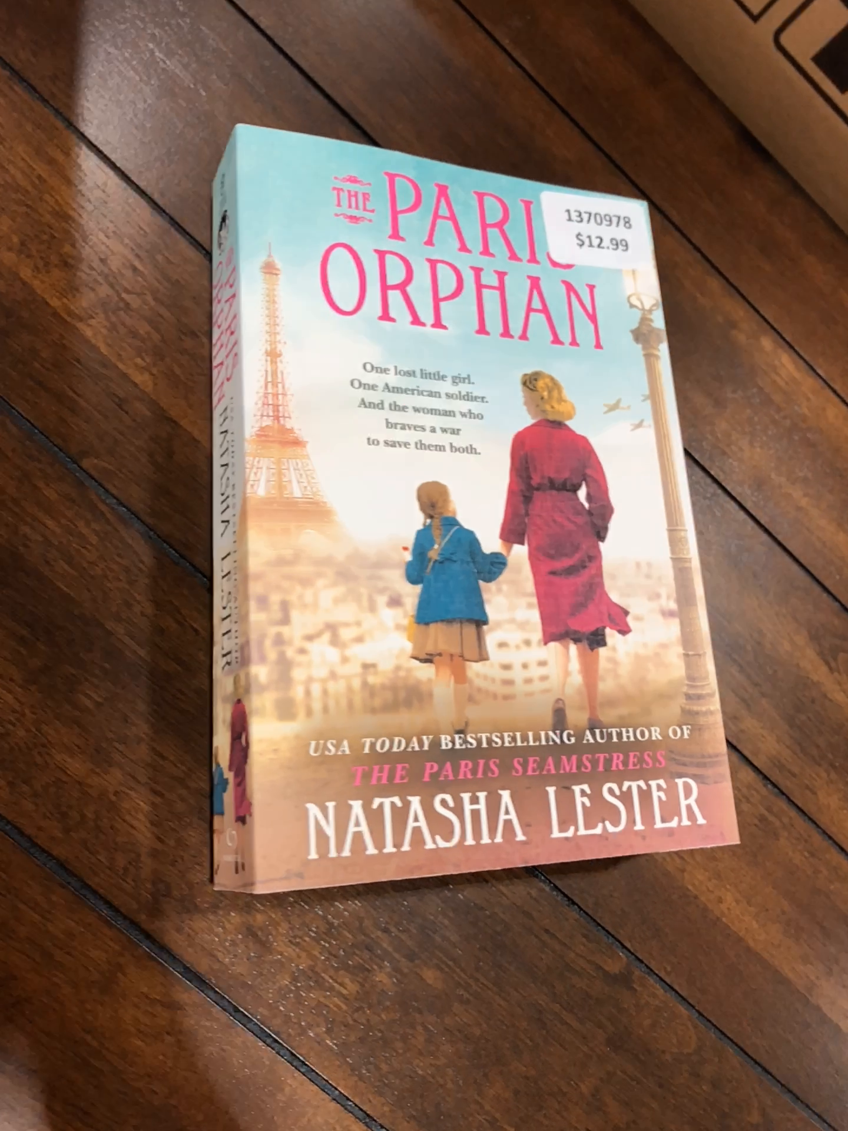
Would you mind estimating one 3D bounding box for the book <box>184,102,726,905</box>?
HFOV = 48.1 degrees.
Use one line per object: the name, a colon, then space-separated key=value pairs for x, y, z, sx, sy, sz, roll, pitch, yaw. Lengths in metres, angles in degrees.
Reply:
book: x=0.006 y=-0.017 z=0.264 sx=0.135 sy=0.035 sz=0.198 roll=3 pitch=75 yaw=-21
